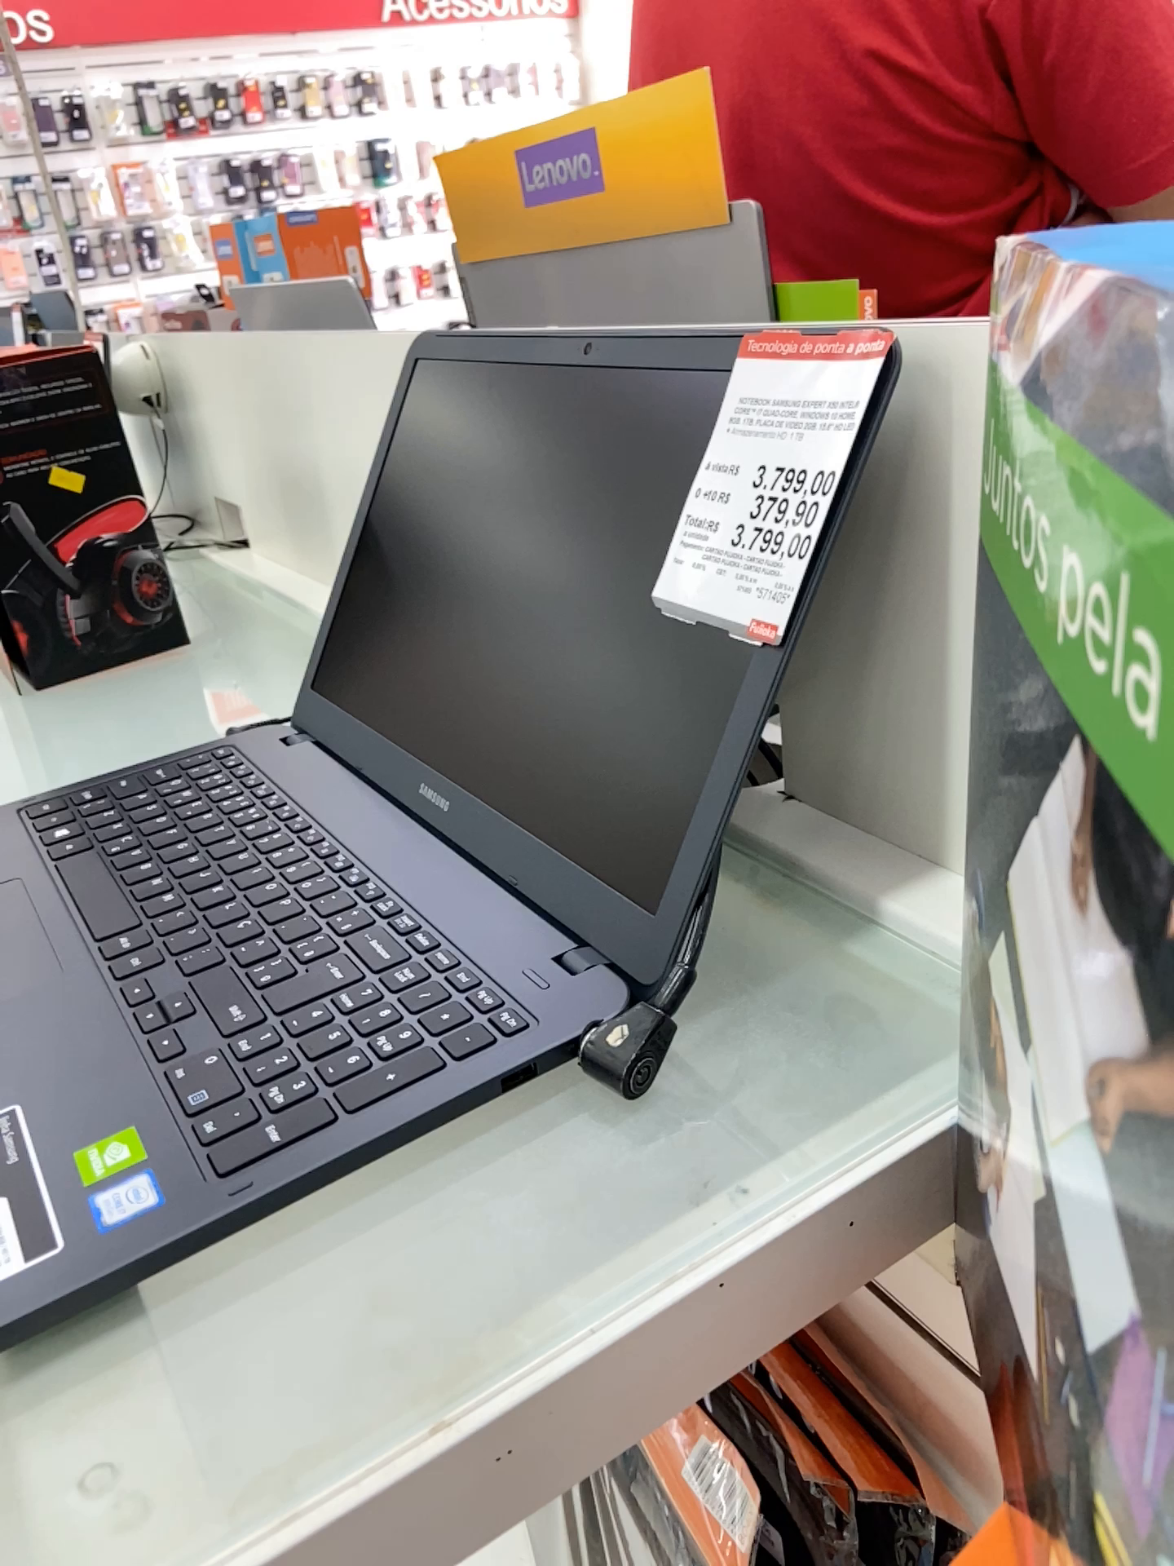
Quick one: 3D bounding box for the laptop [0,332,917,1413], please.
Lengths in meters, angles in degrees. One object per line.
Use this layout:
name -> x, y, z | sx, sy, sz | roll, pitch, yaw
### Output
laptop -> -0.141, -0.046, 0.485 | 0.369, 0.192, 0.372 | -21, 27, -26
